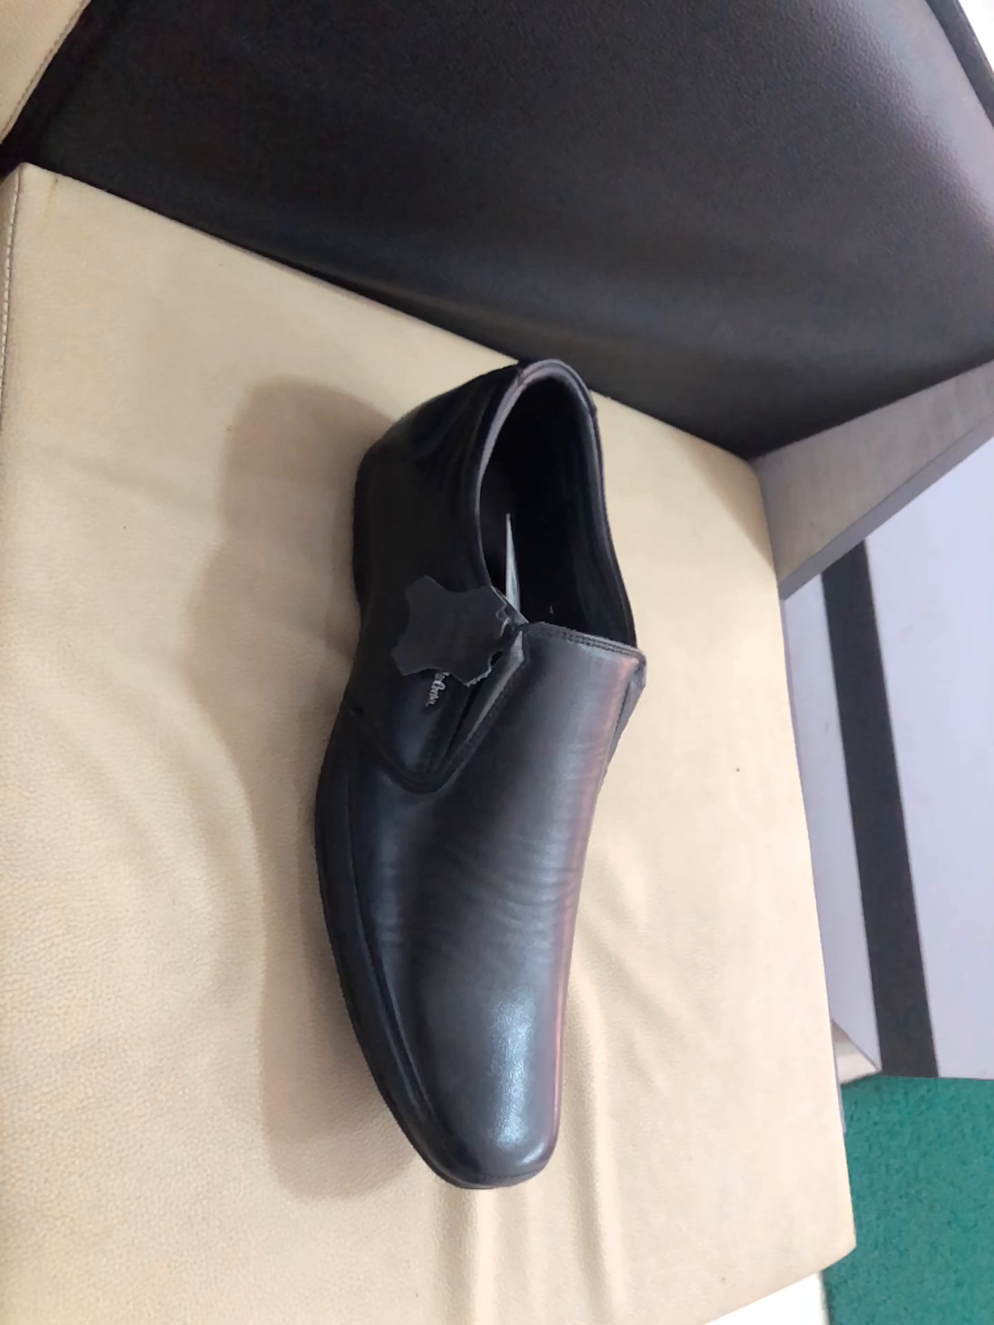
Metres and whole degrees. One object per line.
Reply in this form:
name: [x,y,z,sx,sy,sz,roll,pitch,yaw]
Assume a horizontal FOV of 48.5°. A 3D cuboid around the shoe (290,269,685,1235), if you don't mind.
shoe: [-0.006,0.028,0.422,0.101,0.089,0.320,13,68,-39]
